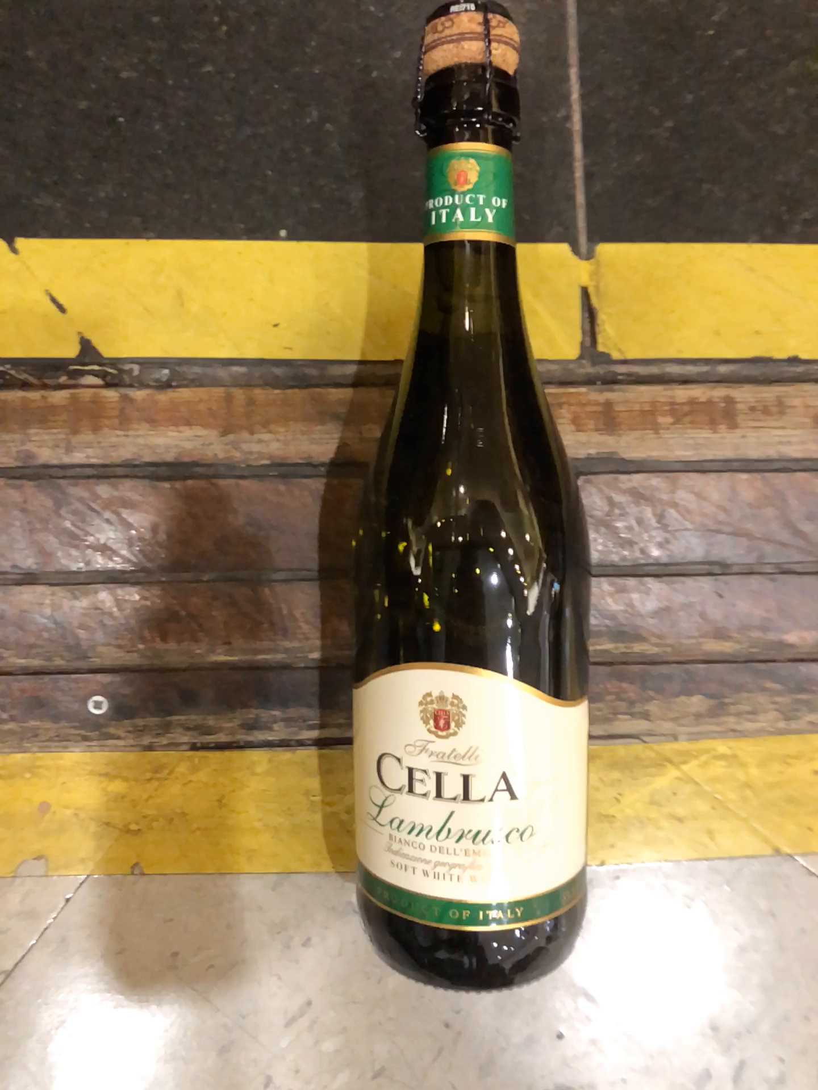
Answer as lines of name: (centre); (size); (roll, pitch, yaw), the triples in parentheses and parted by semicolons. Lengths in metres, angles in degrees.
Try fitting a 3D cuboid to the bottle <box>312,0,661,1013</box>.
bottle: (0.018, -0.013, 0.287); (0.090, 0.060, 0.310); (0, 99, -2)
